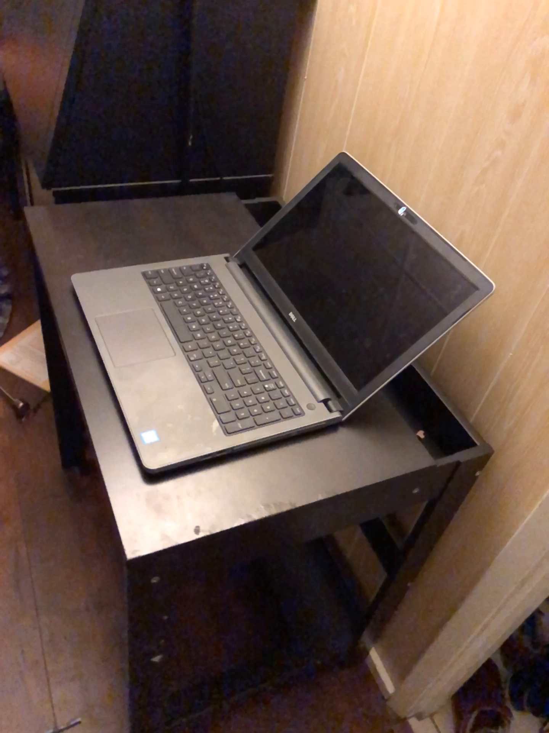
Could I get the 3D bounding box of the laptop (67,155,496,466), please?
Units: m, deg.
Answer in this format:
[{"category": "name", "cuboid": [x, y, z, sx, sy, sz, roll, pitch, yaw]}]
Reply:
[{"category": "laptop", "cuboid": [-0.013, -0.113, 0.807, 0.426, 0.172, 0.369, -12, 47, -25]}]
